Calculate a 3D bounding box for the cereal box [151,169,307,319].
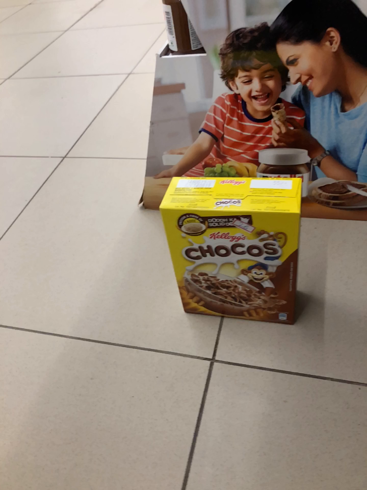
[{"bbox_3d":[0.056,0.004,0.442,0.140,0.169,0.050,4,46,16],"label":"cereal box"}]
